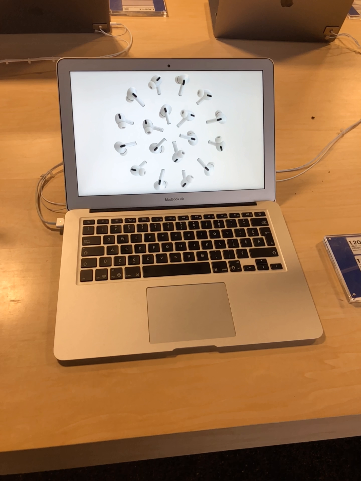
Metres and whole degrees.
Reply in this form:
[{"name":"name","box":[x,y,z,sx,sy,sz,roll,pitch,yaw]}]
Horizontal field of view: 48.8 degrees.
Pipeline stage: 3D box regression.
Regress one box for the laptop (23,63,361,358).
[{"name":"laptop","box":[0.000,-0.069,0.520,0.311,0.151,0.372,-3,51,-7]}]
